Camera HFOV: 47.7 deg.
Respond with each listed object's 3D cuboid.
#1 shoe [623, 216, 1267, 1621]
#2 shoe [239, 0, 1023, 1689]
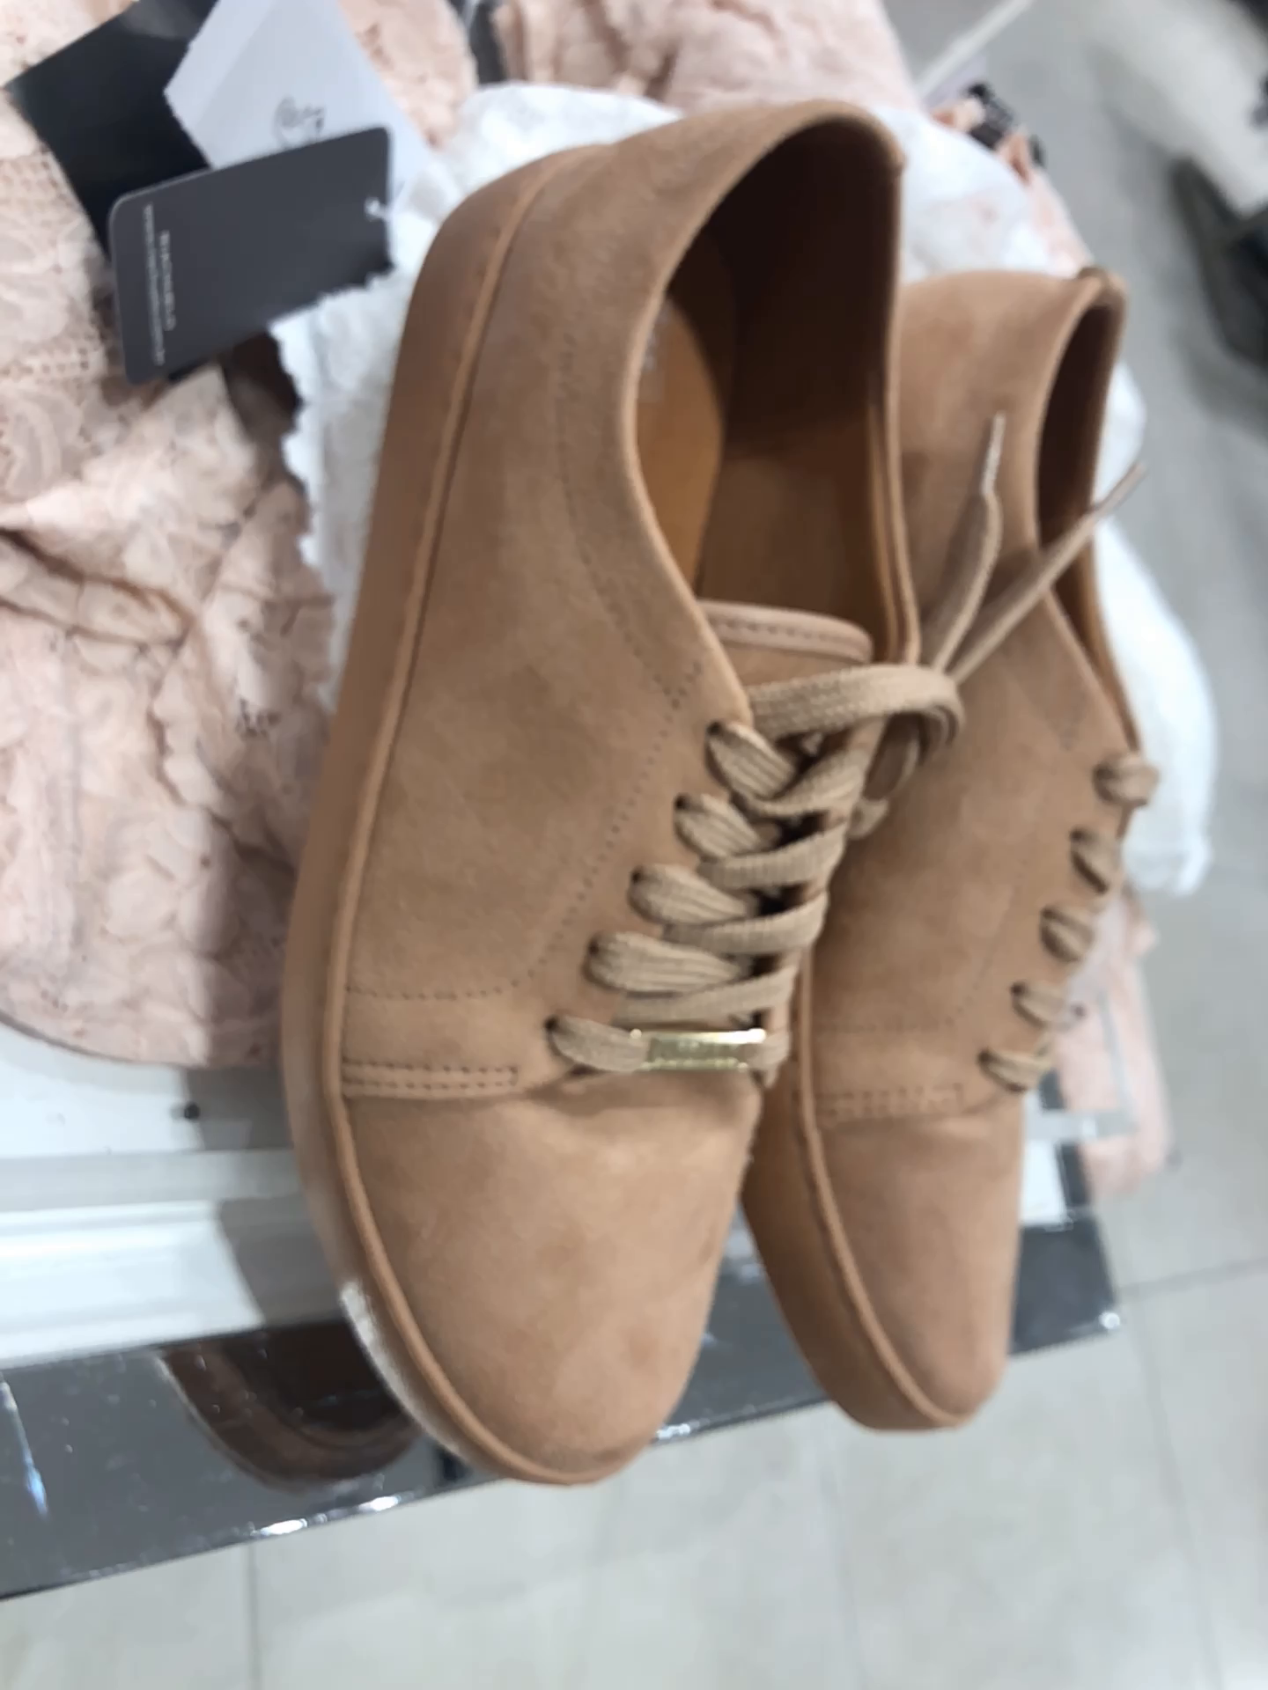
[{"bbox_3d":[0.073,0.014,0.309,0.090,0.099,0.240,-3,88,-59],"label":"shoe"},{"bbox_3d":[-0.001,-0.003,0.262,0.091,0.099,0.240,5,87,-43],"label":"shoe"}]
